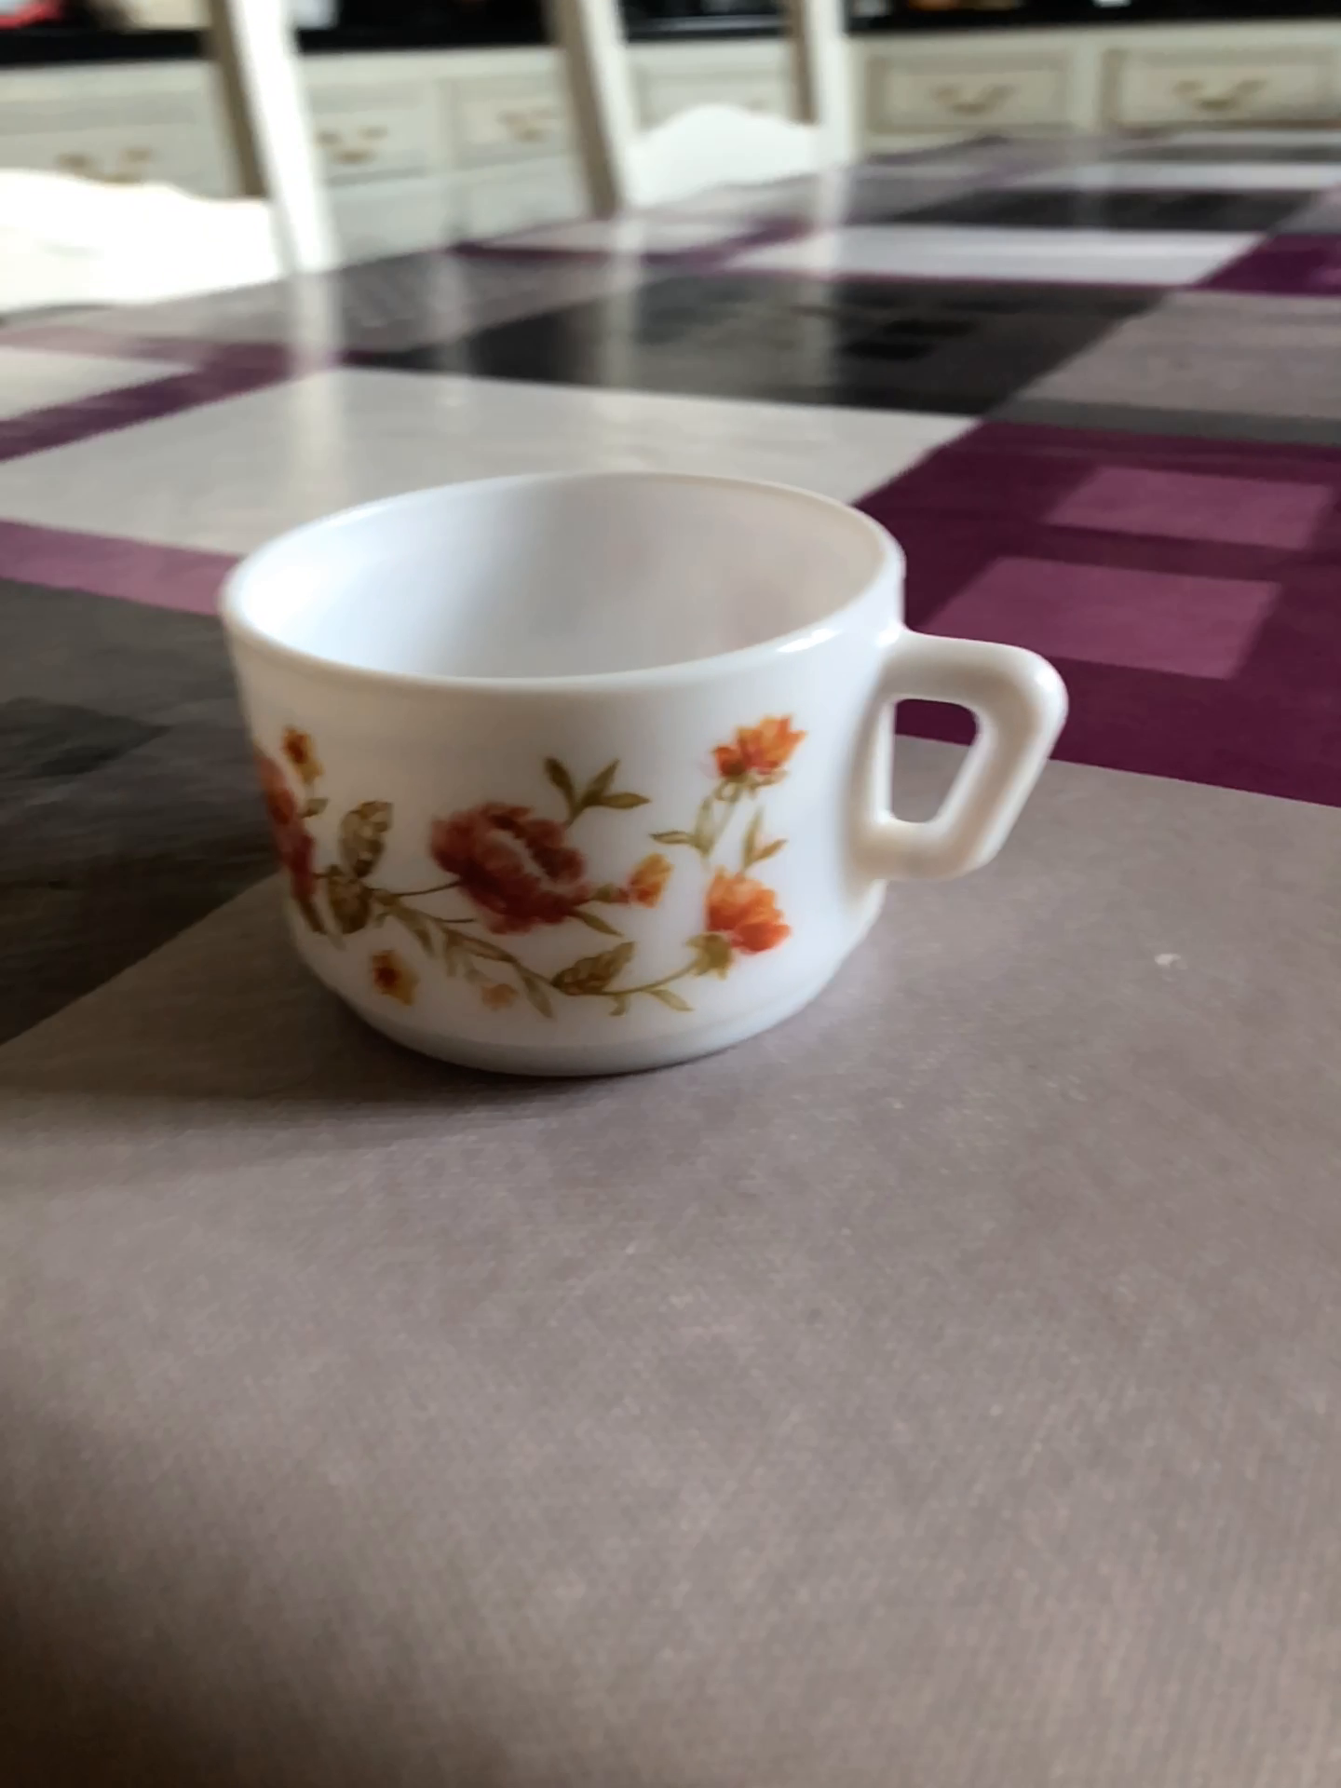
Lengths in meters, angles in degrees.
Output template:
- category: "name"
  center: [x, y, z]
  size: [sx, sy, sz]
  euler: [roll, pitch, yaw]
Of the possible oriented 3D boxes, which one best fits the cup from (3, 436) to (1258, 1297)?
- category: "cup"
  center: [0.000, -0.015, 0.173]
  size: [0.110, 0.050, 0.081]
  euler: [12, 32, 24]
